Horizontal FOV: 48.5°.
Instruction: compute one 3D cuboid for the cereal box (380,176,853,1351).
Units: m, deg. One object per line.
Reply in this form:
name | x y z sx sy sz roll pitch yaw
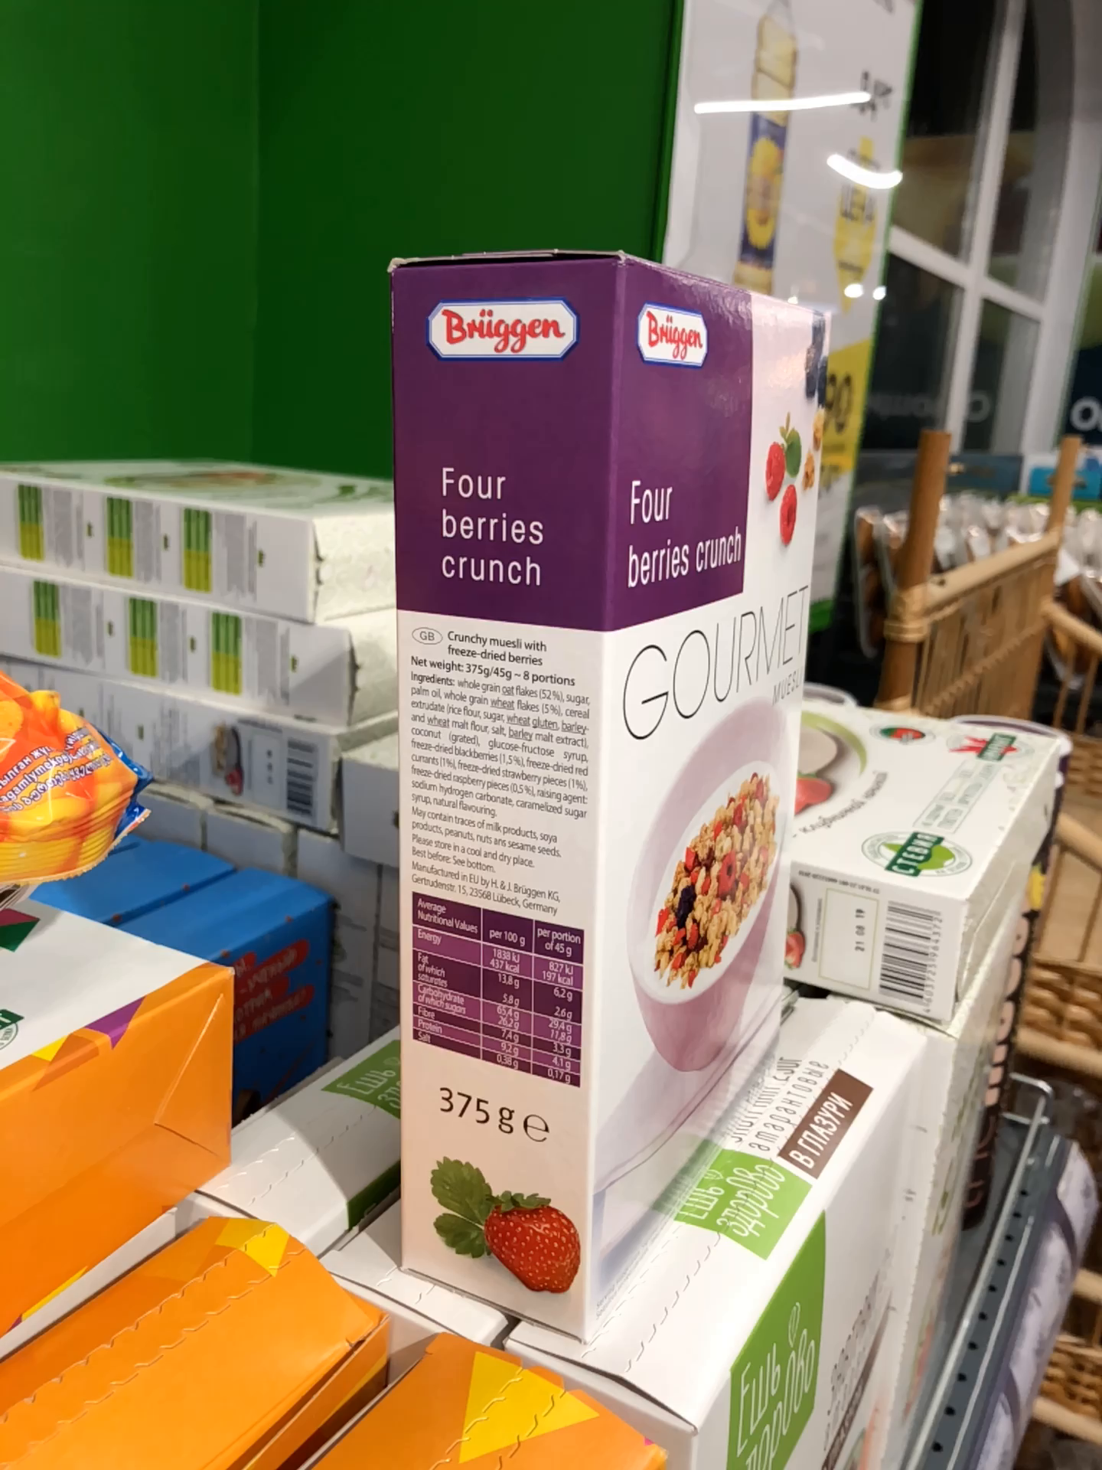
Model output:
cereal box | 0.023 -0.001 0.292 0.050 0.219 0.140 8 16 26
